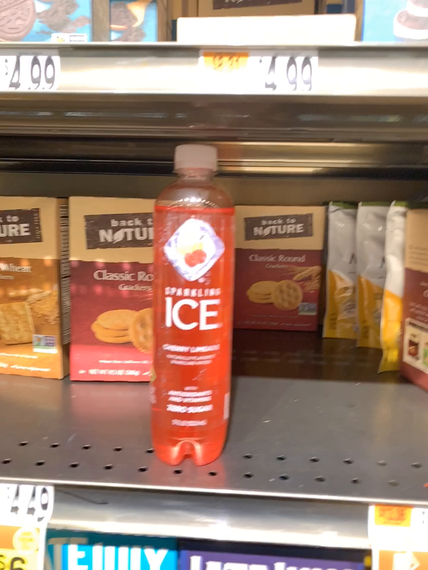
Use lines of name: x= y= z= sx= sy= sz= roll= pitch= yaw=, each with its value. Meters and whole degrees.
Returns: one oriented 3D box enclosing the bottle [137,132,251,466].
bottle: x=-0.014 y=0.010 z=0.302 sx=0.065 sy=0.211 sz=0.060 roll=2 pitch=11 yaw=0
